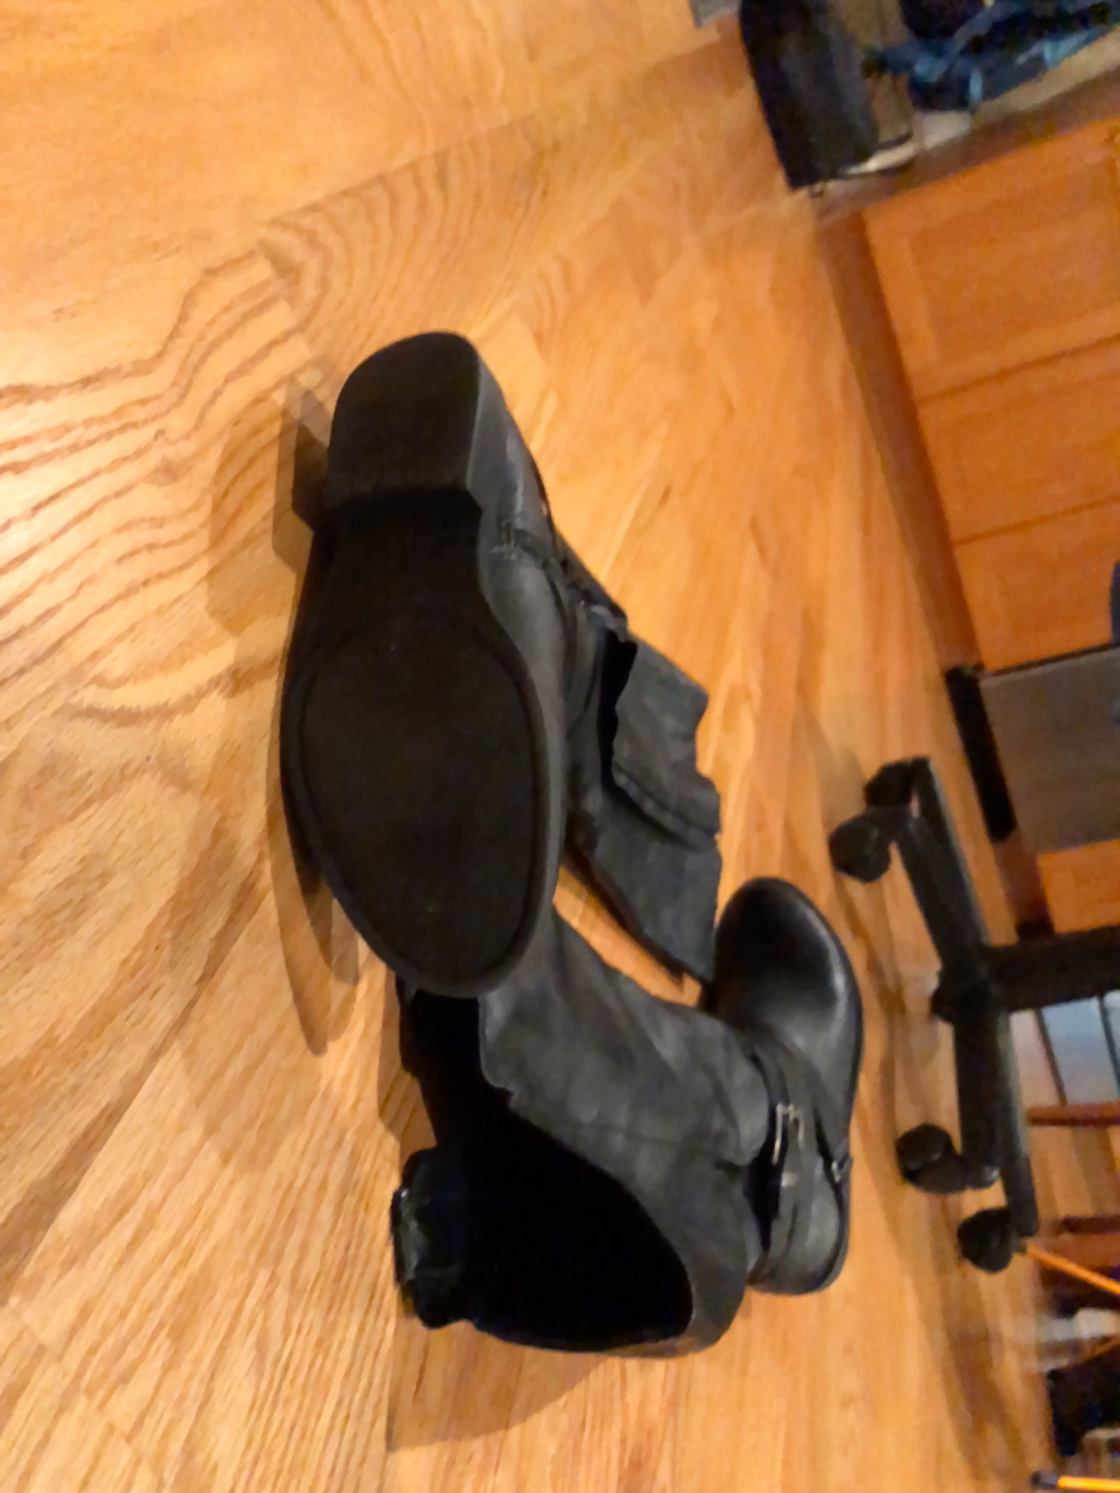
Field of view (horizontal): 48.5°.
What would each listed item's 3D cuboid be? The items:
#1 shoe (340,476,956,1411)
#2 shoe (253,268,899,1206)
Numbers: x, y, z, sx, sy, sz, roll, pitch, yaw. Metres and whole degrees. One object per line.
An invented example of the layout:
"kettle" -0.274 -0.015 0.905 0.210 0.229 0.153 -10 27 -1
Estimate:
"shoe" 0.066 0.127 0.555 0.404 0.104 0.291 46 36 -54
"shoe" 0.039 0.037 0.546 0.394 0.094 0.251 45 36 -52
